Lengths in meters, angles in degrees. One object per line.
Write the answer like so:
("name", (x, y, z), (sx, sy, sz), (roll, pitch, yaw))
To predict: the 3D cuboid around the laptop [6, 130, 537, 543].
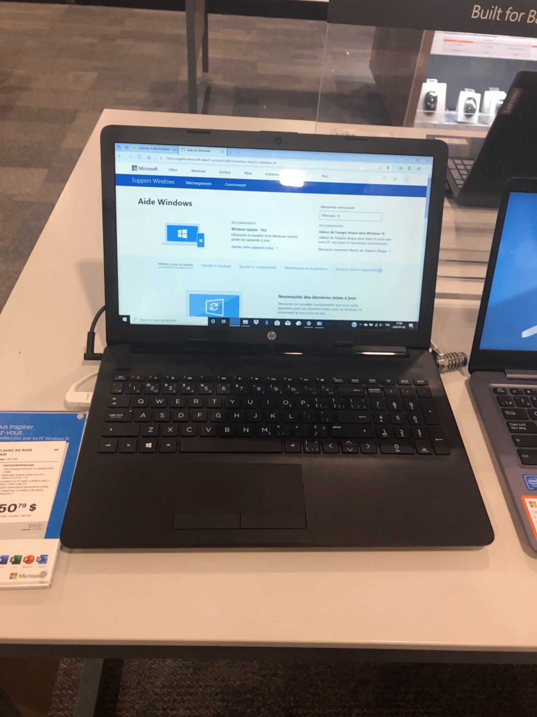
("laptop", (0.009, -0.041, 0.556), (0.356, 0.195, 0.361), (1, 43, -3))
